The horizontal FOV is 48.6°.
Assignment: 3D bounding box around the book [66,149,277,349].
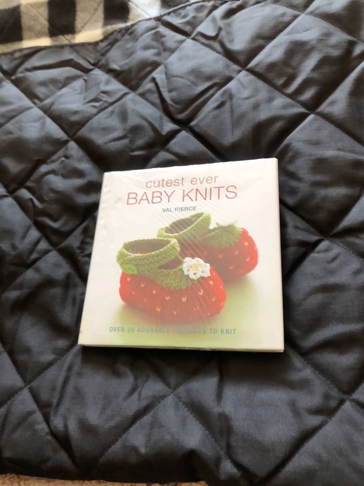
[{"bbox_3d":[-0.008,0.002,0.412,0.197,0.020,0.200,-2,67,12],"label":"book"}]
